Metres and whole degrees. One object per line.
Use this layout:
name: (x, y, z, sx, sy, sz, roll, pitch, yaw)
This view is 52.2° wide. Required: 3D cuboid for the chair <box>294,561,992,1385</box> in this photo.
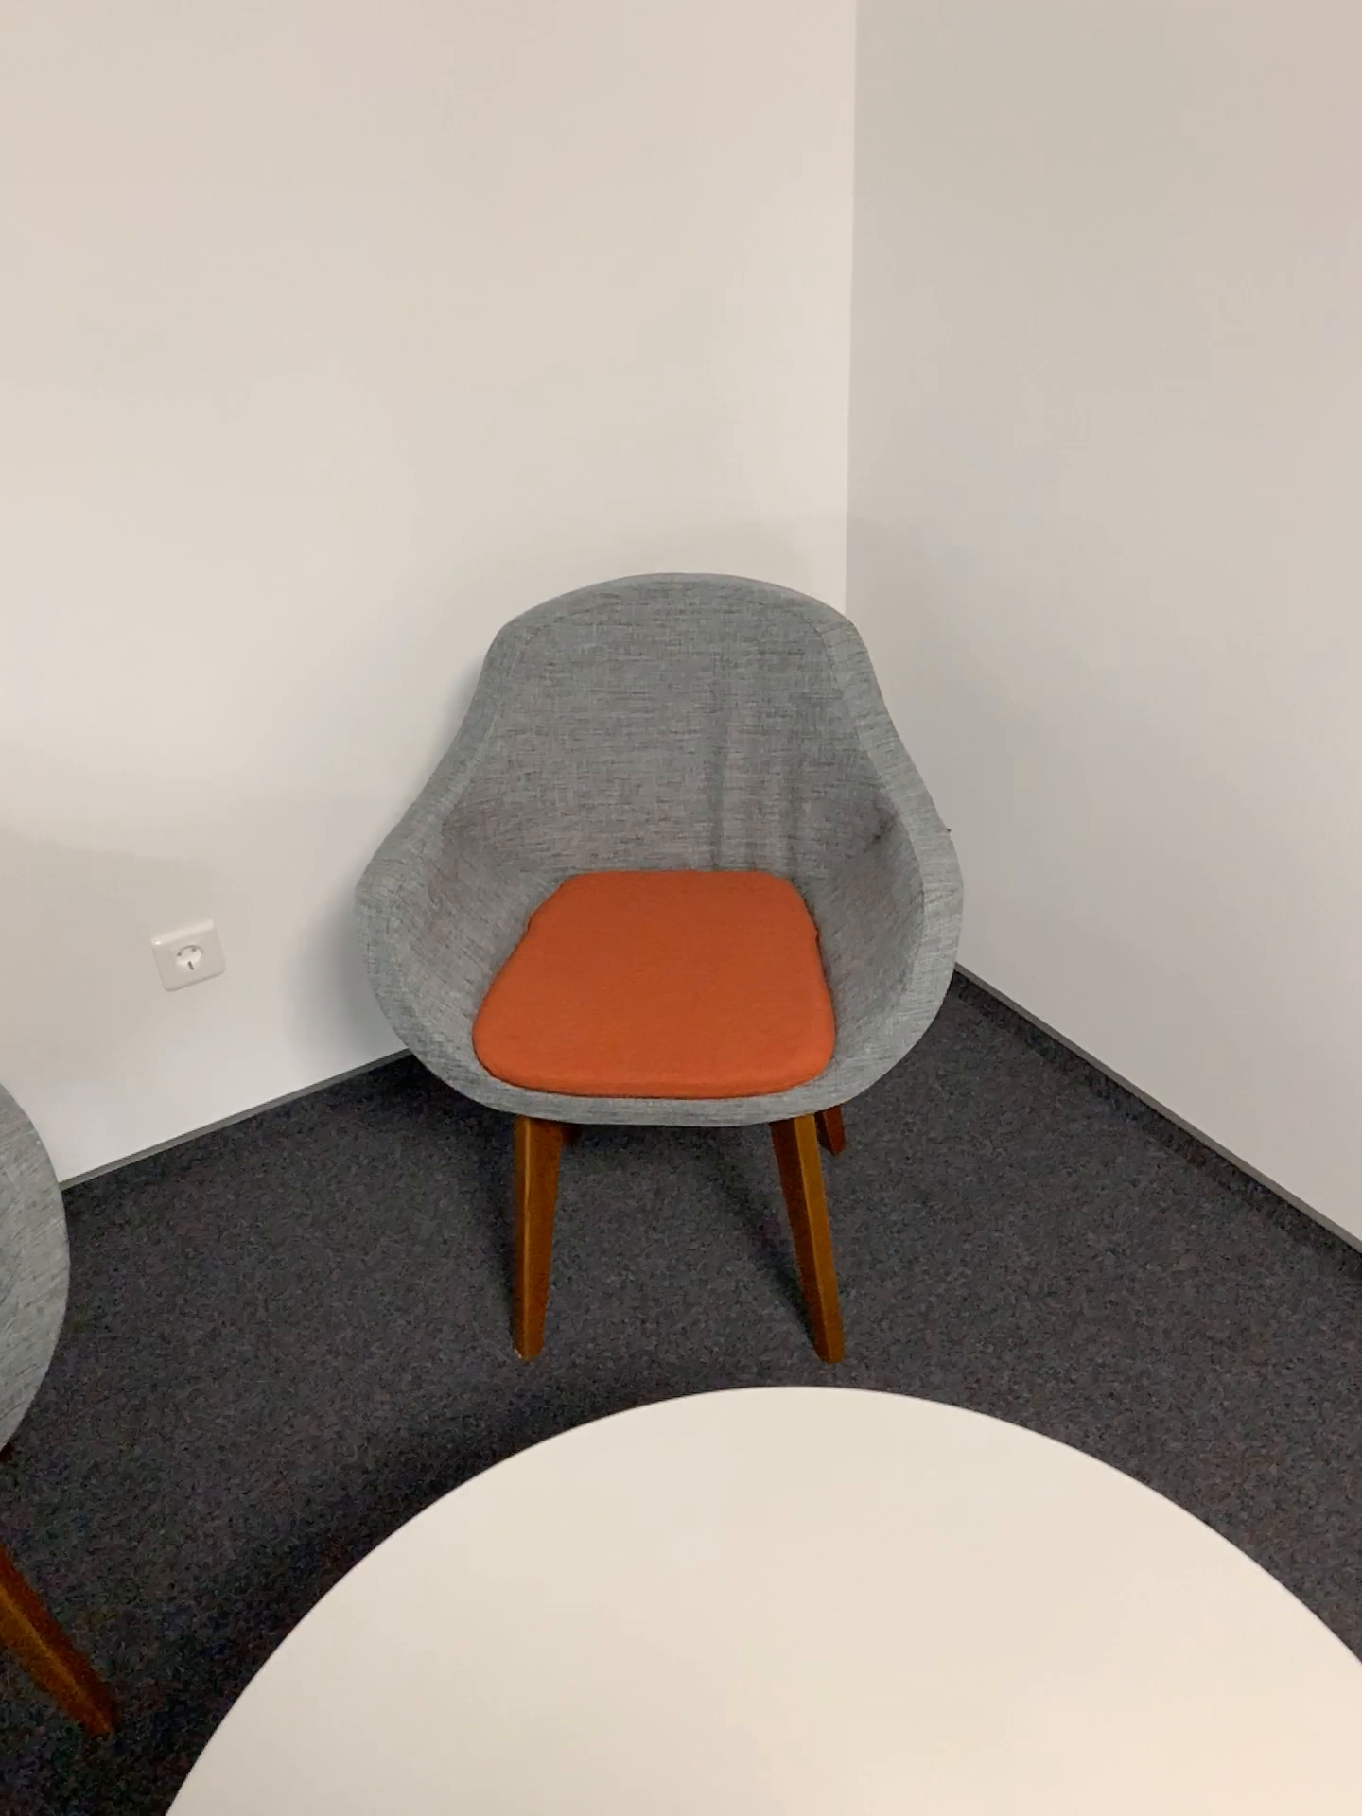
chair: (-0.002, 0.076, 1.677, 0.630, 0.835, 0.503, 1, 32, 5)
